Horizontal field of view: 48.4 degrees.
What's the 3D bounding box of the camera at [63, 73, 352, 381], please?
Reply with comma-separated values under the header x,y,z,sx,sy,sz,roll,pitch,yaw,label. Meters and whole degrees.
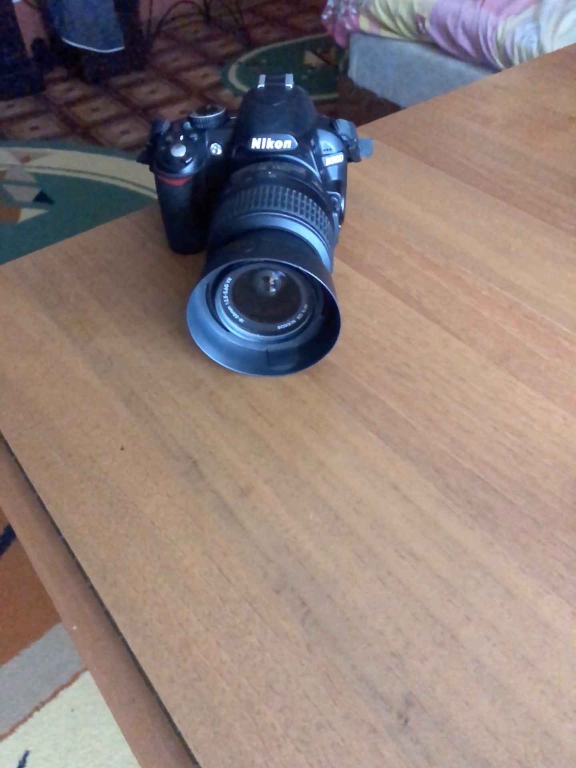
x,y,z,sx,sy,sz,roll,pitch,yaw,label
-0.029,-0.102,0.381,0.129,0.092,0.184,2,46,4,camera
